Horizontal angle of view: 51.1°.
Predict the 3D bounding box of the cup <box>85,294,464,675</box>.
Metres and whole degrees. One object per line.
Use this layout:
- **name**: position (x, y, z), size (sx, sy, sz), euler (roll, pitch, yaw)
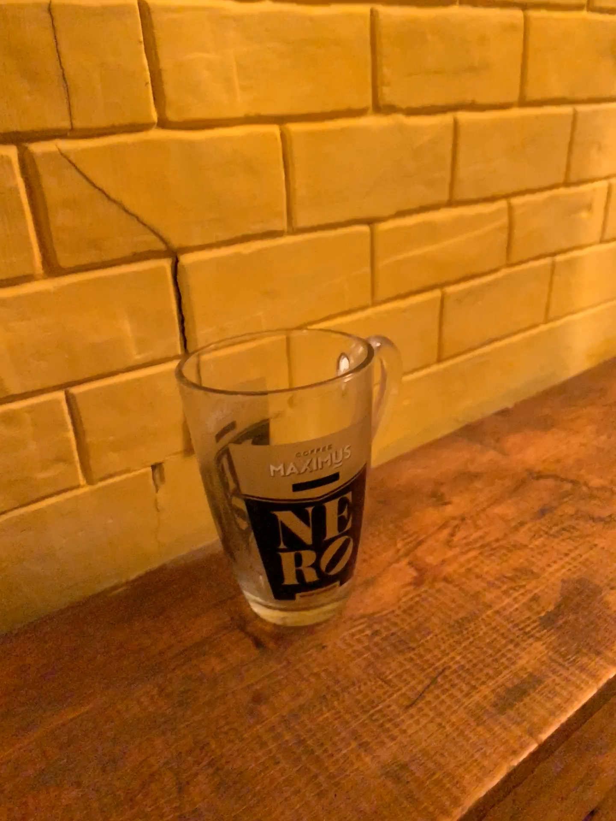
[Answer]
- **cup**: position (-0.010, 0.018, 0.284), size (0.124, 0.098, 0.093), euler (-23, 33, -37)
